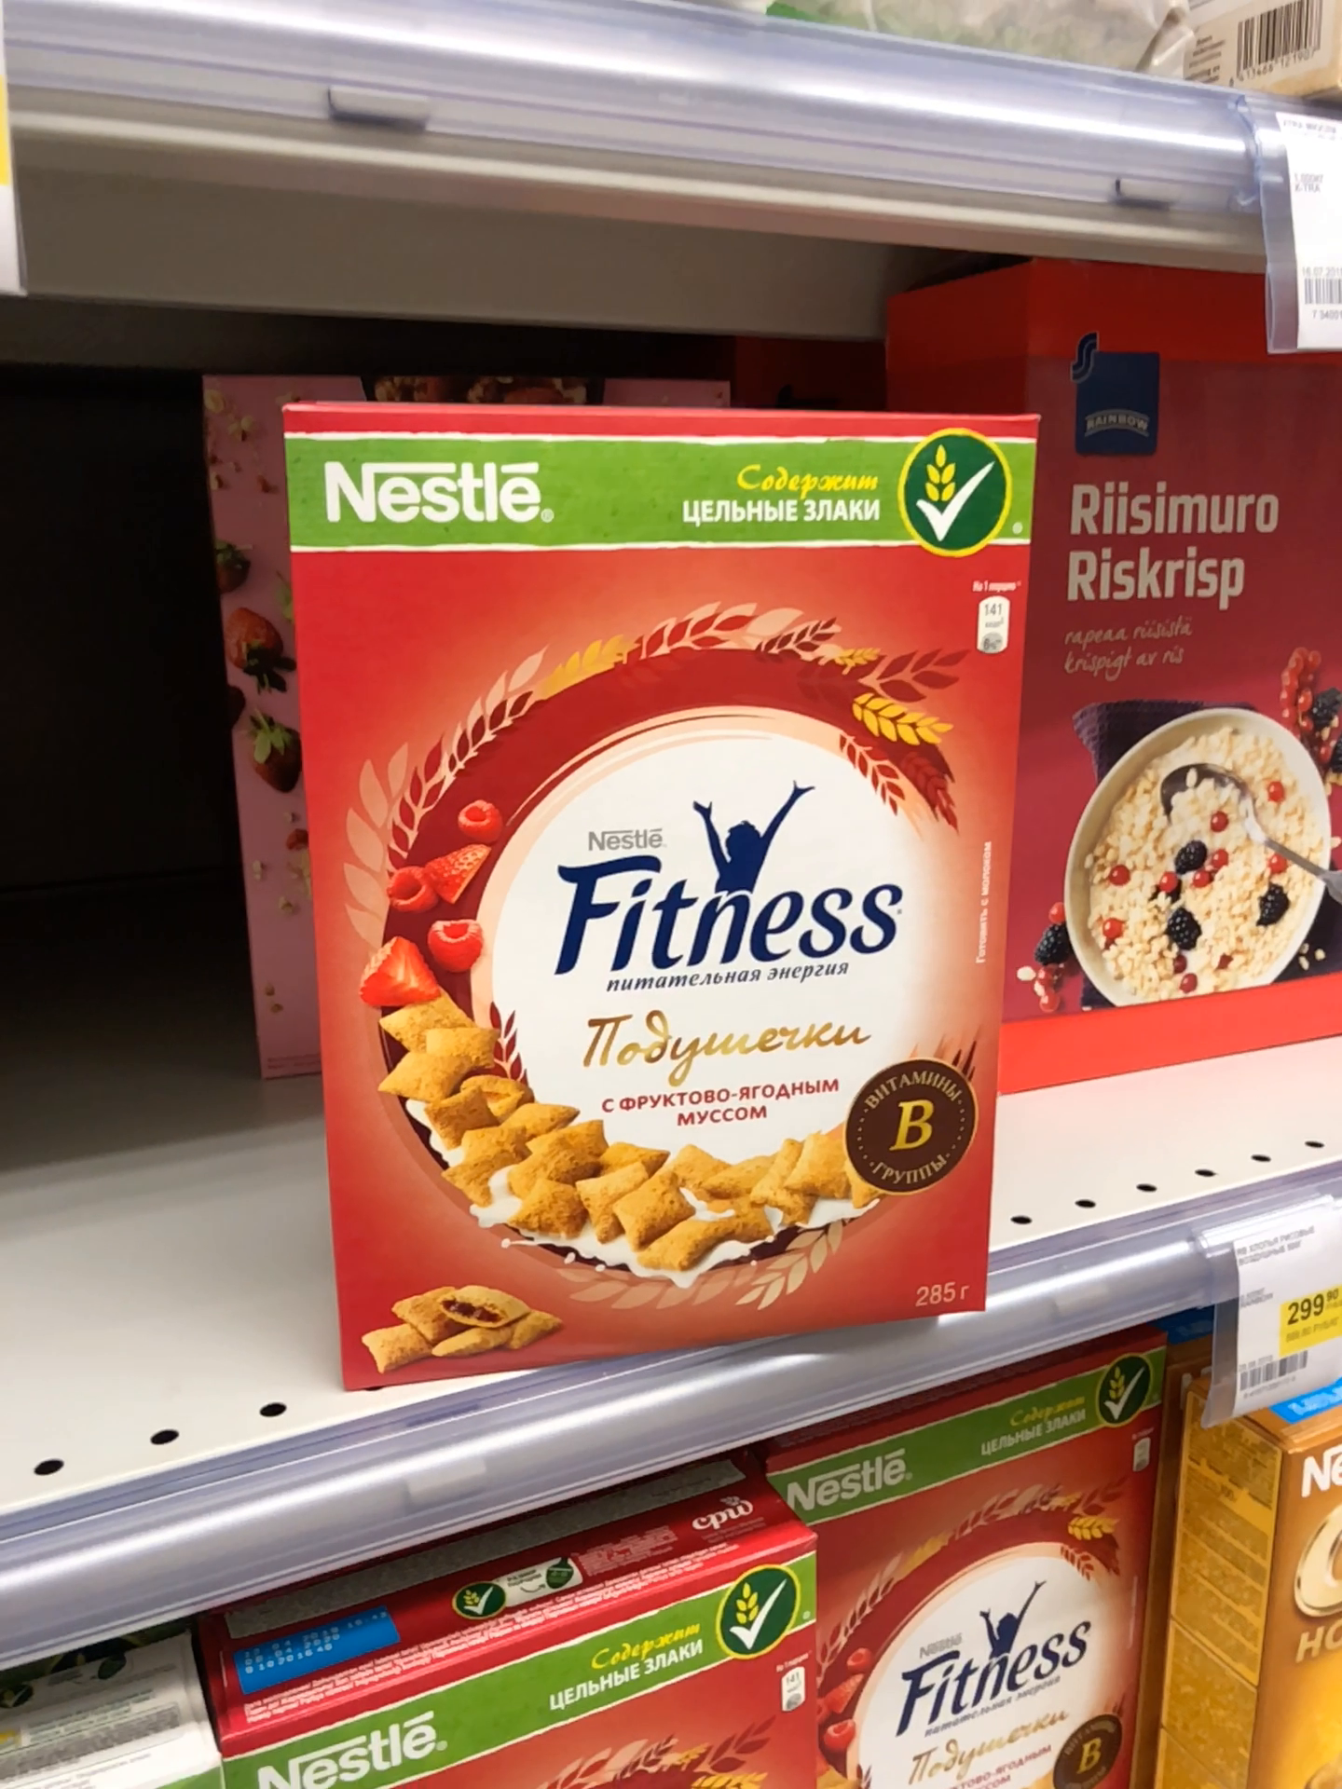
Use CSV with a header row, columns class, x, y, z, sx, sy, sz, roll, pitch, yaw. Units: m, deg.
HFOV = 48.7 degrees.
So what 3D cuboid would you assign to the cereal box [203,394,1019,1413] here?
class,x,y,z,sx,sy,sz,roll,pitch,yaw
cereal box,-0.013,0.001,0.377,0.180,0.239,0.050,-3,16,-12
